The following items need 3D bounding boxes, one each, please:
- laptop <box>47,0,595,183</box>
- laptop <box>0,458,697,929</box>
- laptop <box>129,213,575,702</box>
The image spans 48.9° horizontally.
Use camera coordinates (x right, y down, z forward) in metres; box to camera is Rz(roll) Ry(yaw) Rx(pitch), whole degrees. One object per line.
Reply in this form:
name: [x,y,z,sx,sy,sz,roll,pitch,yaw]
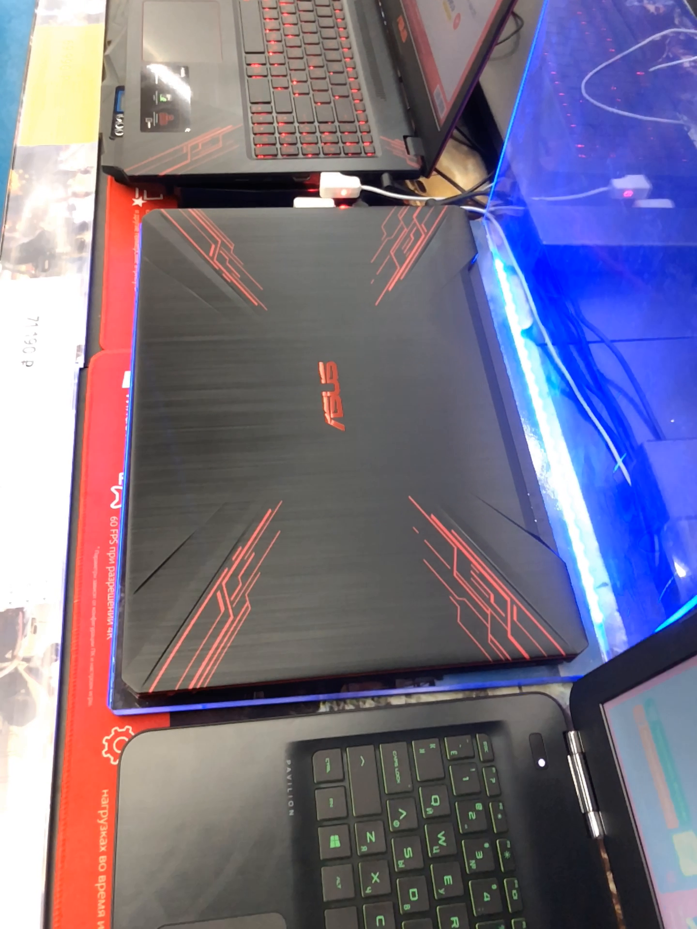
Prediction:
laptop: [-0.039,-0.466,0.642,0.318,0.231,0.391,-4,58,-8]
laptop: [0.048,0.234,0.226,0.291,0.242,0.375,-3,58,-6]
laptop: [-0.013,-0.040,0.516,0.243,0.006,0.374,-3,58,-6]
